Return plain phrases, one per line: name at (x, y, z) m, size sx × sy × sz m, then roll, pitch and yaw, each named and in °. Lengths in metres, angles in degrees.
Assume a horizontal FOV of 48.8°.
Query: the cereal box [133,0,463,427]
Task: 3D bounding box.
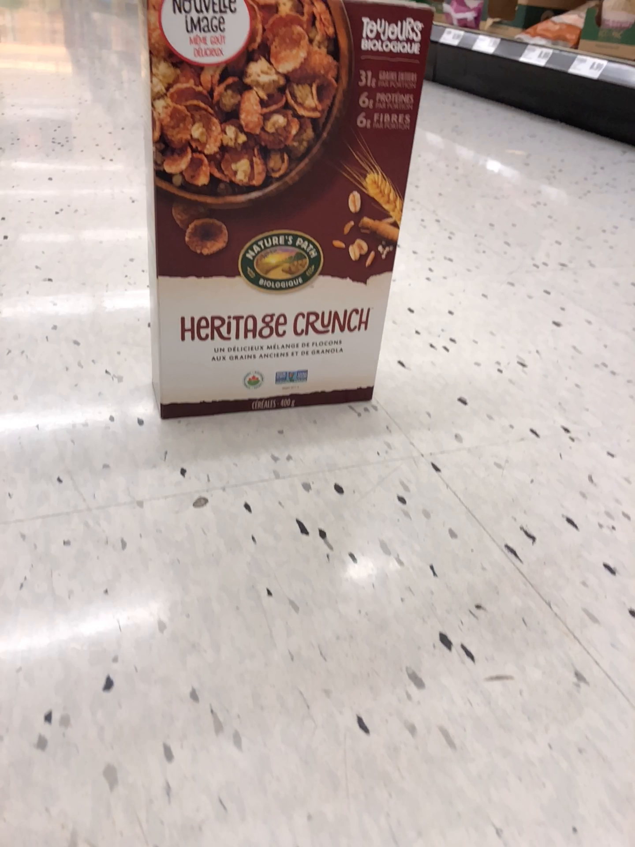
cereal box at (-0.022, -0.126, 0.447) m, size 0.170 × 0.248 × 0.060 m, roll -6°, pitch 34°, yaw -18°
